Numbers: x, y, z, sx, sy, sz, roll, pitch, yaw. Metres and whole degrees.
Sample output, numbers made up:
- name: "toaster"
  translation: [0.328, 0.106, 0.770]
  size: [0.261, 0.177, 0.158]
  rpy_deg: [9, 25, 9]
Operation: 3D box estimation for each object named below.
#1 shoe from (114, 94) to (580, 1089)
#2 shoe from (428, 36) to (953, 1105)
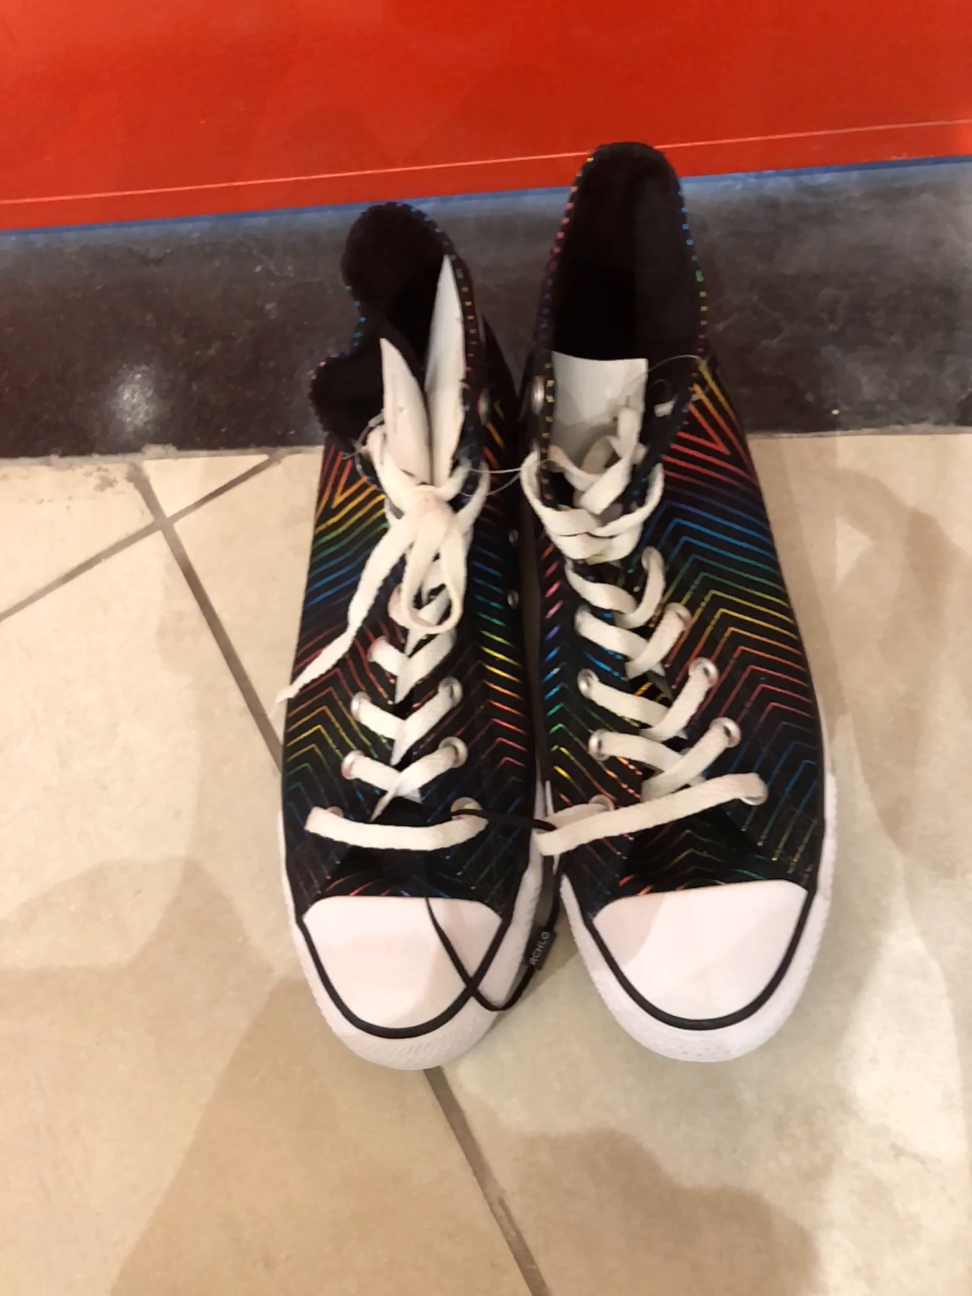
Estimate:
- name: "shoe"
  translation: [-0.033, -0.014, 0.390]
  size: [0.110, 0.140, 0.311]
  rpy_deg: [-4, 72, 10]
- name: "shoe"
  translation: [0.056, -0.021, 0.368]
  size: [0.110, 0.140, 0.311]
  rpy_deg: [-6, 71, 9]
